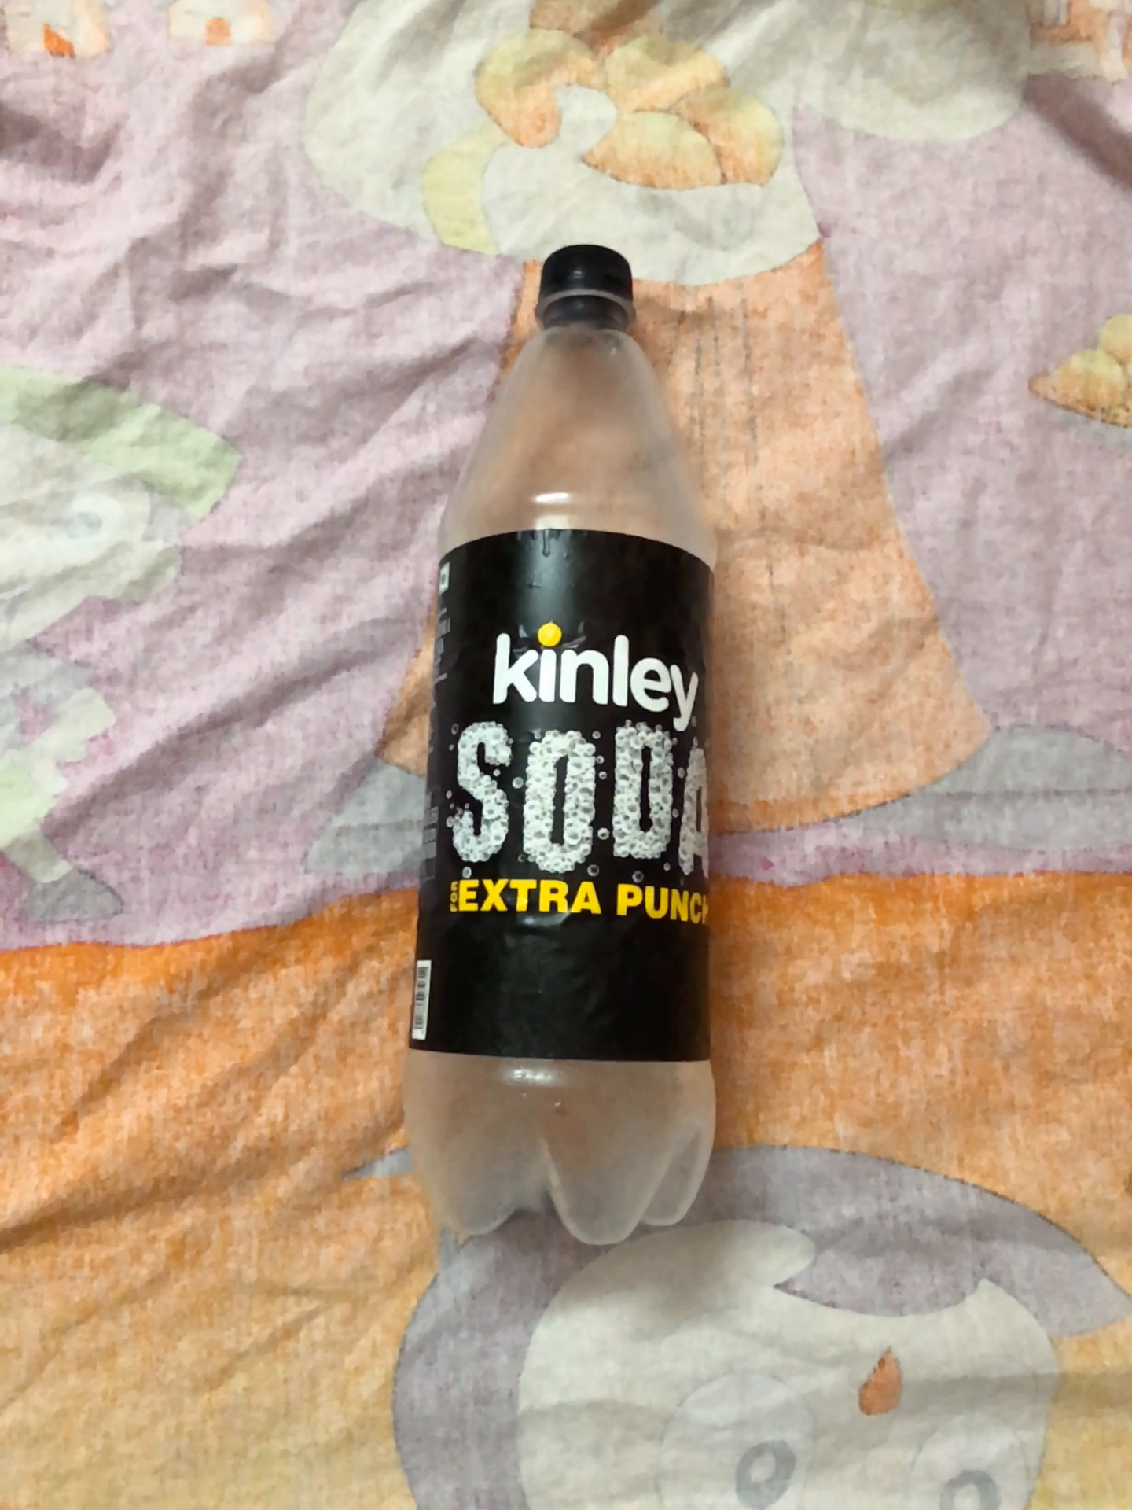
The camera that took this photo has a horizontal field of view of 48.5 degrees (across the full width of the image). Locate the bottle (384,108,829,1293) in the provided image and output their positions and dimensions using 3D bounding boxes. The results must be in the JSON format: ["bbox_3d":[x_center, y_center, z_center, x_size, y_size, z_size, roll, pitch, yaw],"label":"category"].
[{"bbox_3d":[0.009,-0.013,0.344,0.090,0.080,0.280,4,84,-14],"label":"bottle"}]
